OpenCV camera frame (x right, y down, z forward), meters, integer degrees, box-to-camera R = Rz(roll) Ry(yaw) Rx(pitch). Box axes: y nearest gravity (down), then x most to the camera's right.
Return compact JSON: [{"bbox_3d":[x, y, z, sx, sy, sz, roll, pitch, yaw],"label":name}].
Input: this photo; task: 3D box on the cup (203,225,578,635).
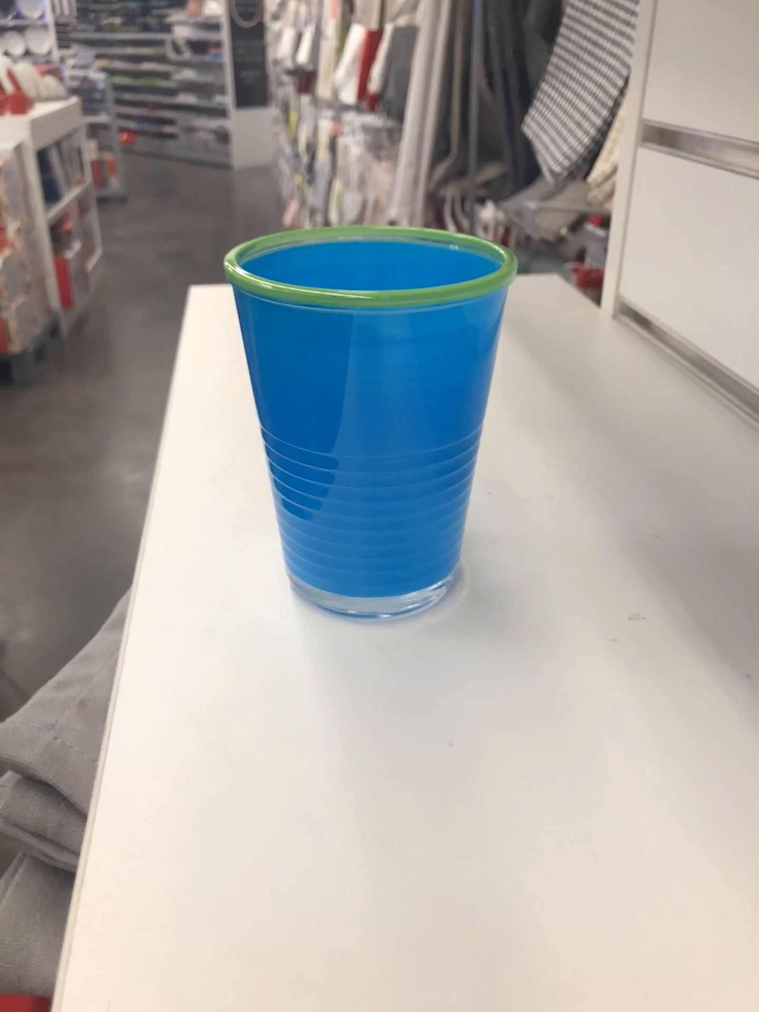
[{"bbox_3d":[-0.001,-0.026,0.244,0.083,0.090,0.081,0,29,0],"label":"cup"}]
